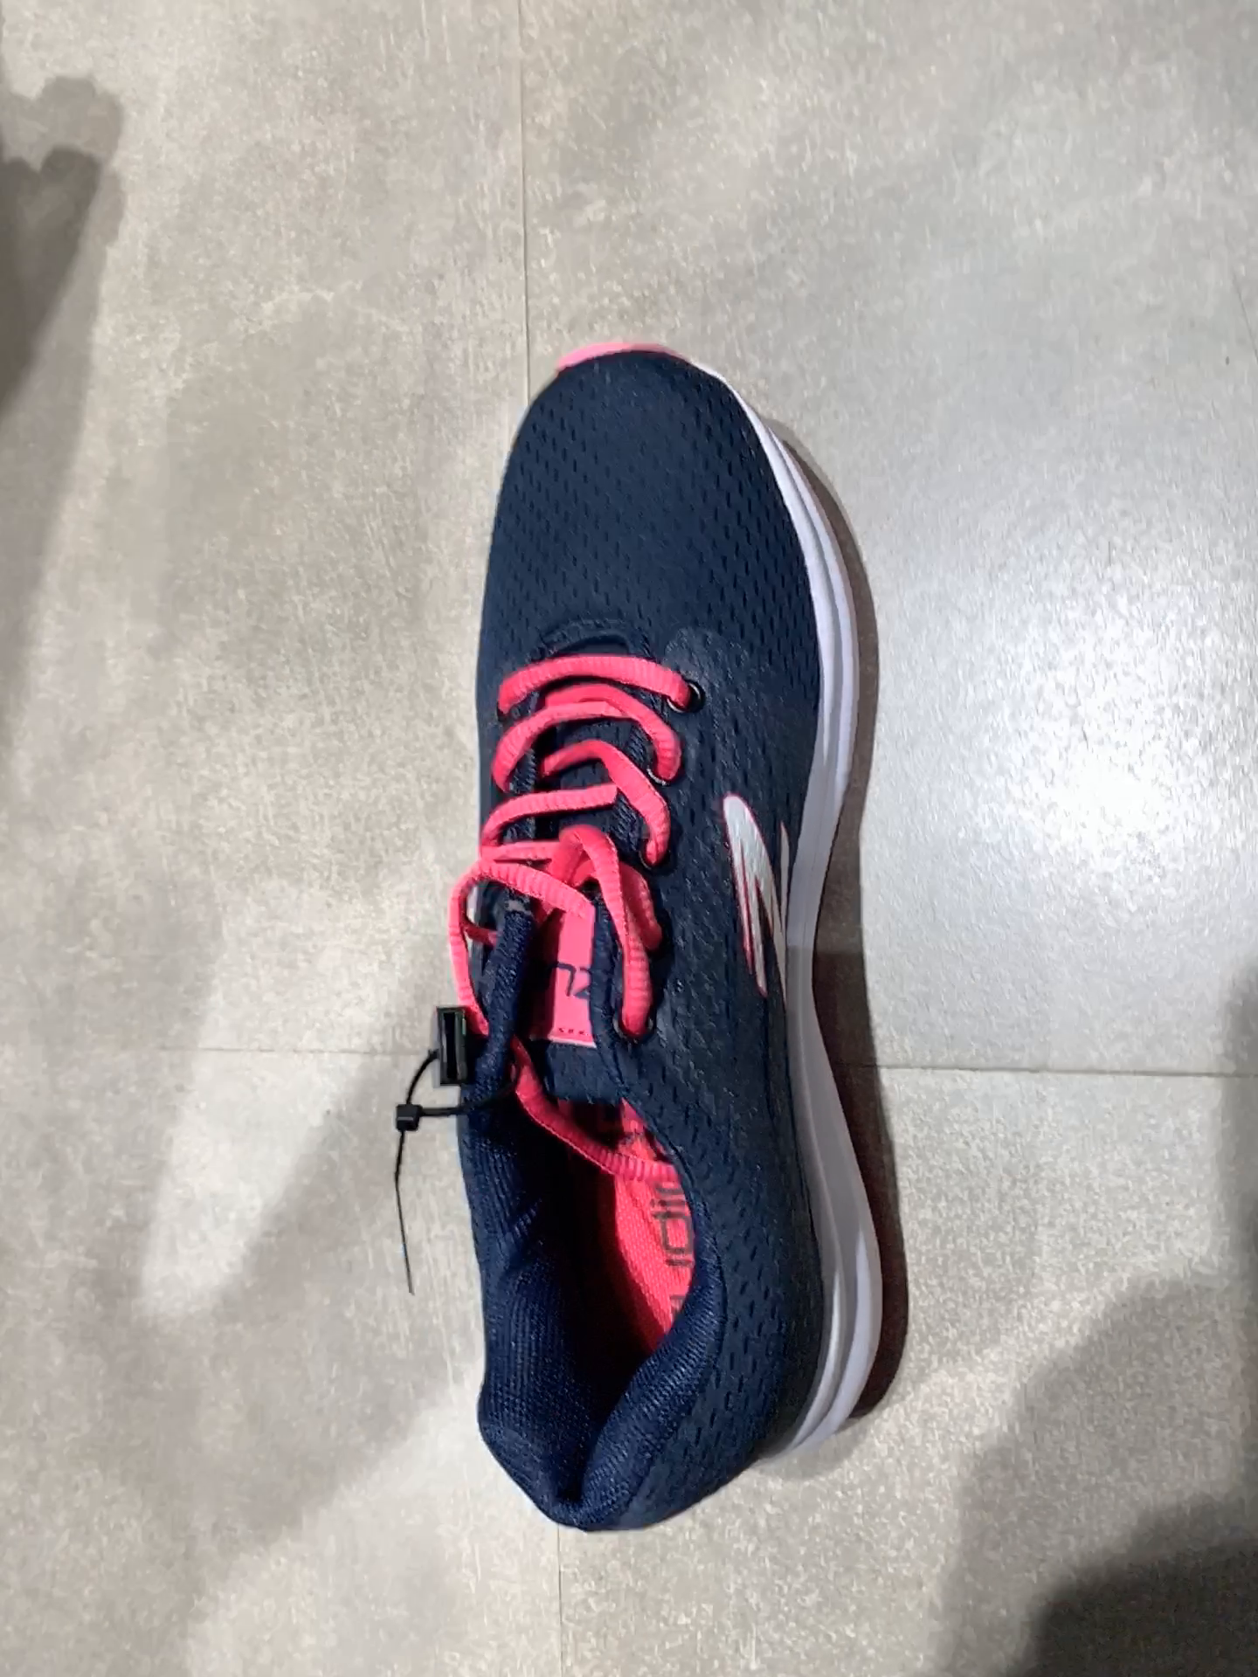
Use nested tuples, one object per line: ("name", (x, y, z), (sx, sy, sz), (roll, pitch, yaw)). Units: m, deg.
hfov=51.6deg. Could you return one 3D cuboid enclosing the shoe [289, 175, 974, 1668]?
("shoe", (0.003, 0.015, 0.277), (0.095, 0.090, 0.248), (-7, 84, 26))
